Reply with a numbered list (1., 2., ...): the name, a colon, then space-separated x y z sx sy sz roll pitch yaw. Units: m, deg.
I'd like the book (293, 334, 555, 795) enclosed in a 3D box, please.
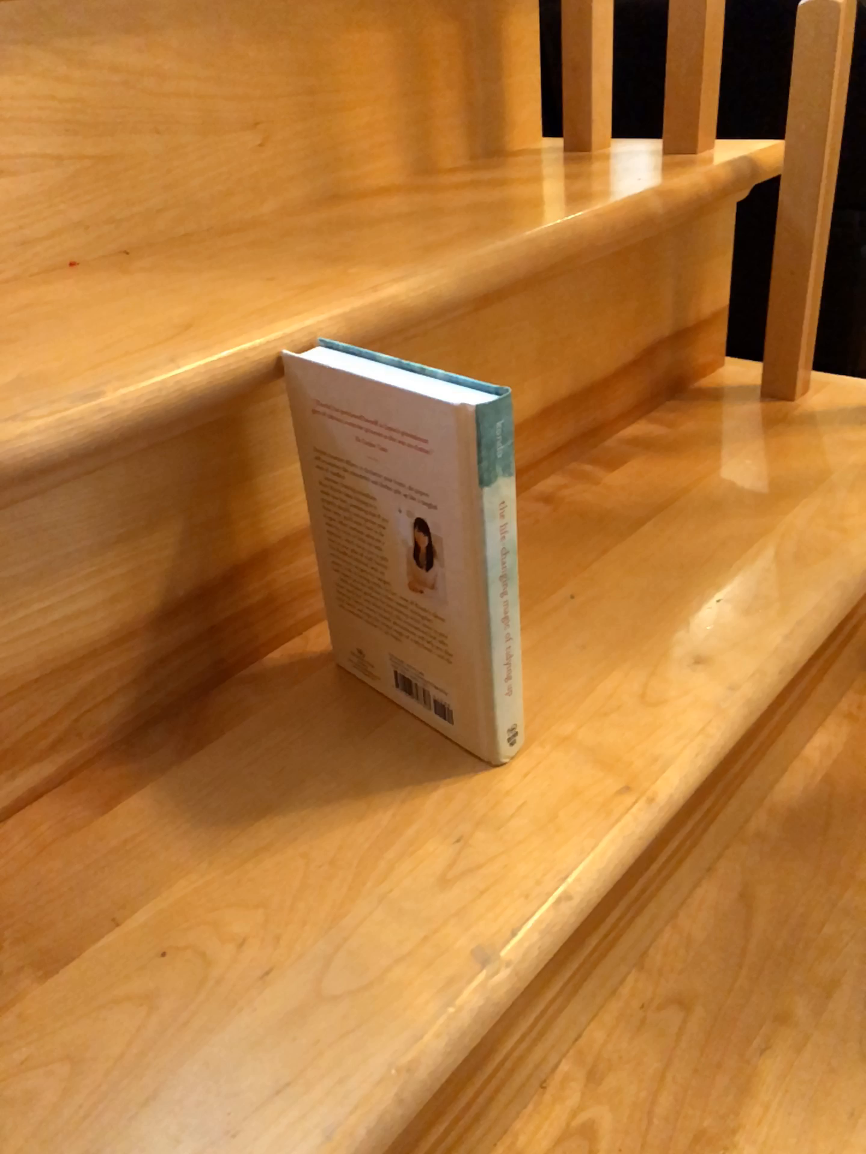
1. book: -0.003 -0.007 0.474 0.027 0.199 0.140 -28 37 -34
